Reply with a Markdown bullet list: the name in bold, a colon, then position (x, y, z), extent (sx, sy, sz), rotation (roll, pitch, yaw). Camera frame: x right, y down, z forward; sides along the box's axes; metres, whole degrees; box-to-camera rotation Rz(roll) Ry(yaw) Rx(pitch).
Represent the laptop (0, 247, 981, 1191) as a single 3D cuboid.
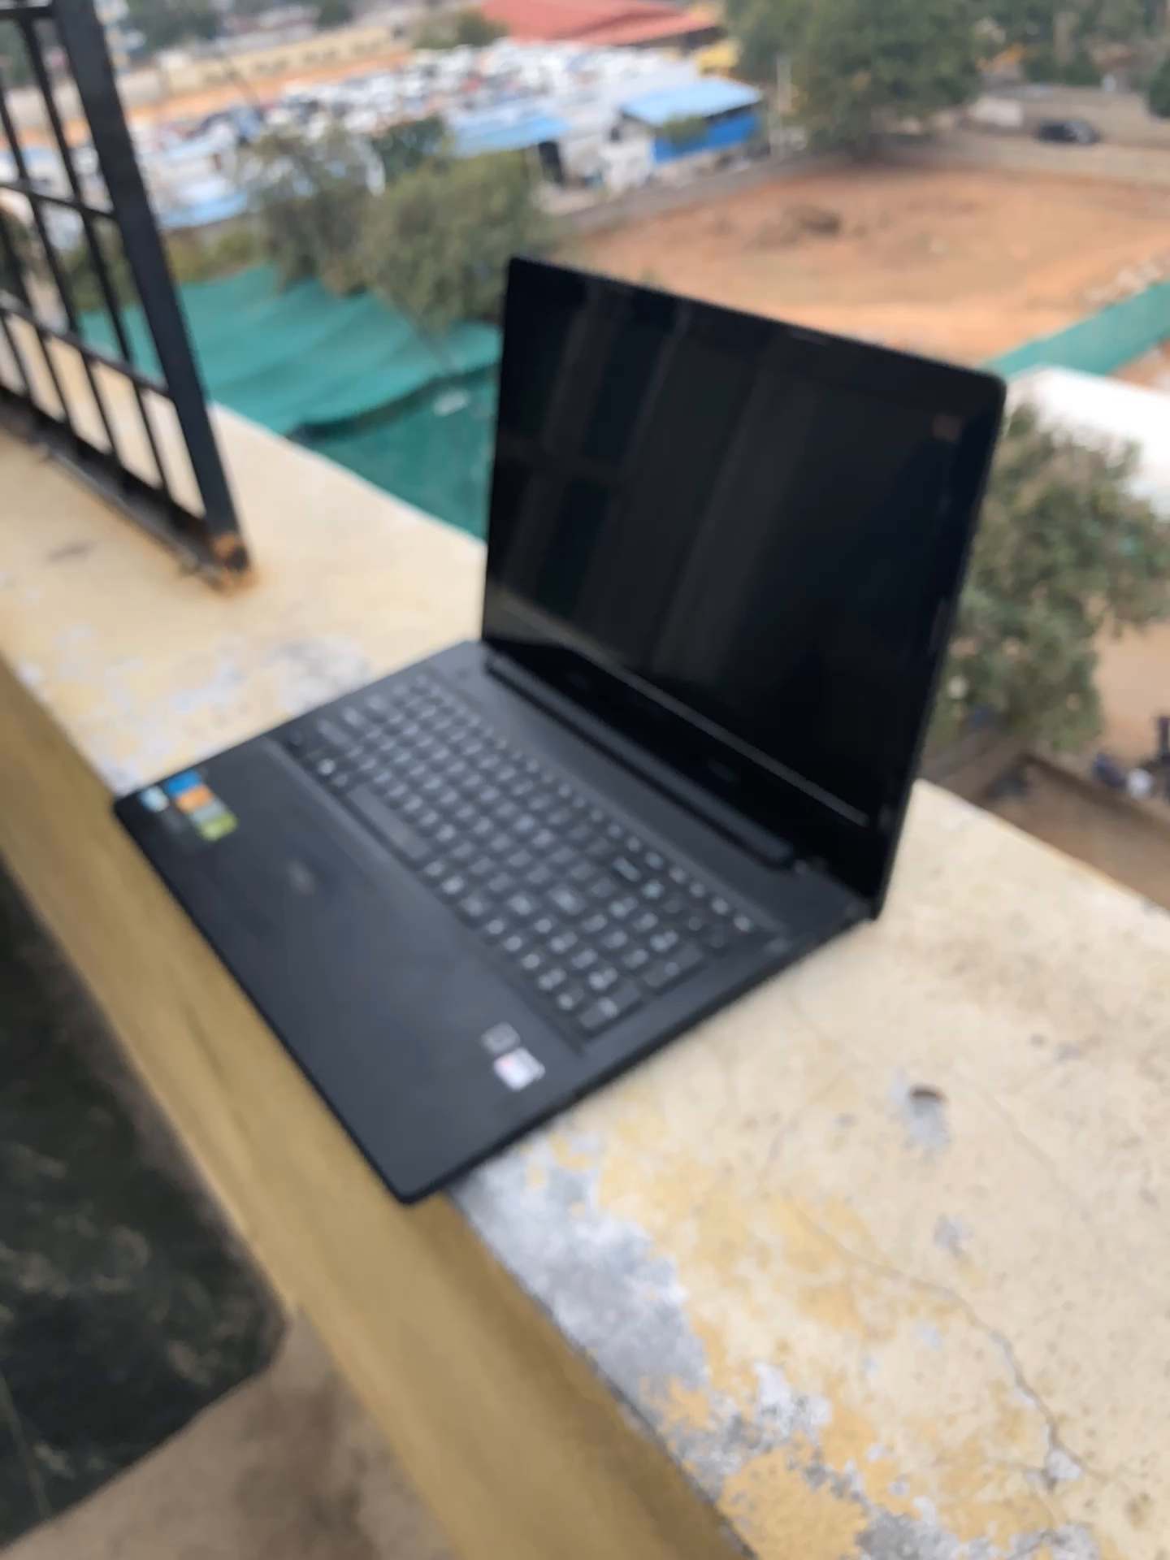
- **laptop**: position (-0.060, -0.077, 0.663), extent (0.330, 0.229, 0.368), rotation (-28, 40, -24)
